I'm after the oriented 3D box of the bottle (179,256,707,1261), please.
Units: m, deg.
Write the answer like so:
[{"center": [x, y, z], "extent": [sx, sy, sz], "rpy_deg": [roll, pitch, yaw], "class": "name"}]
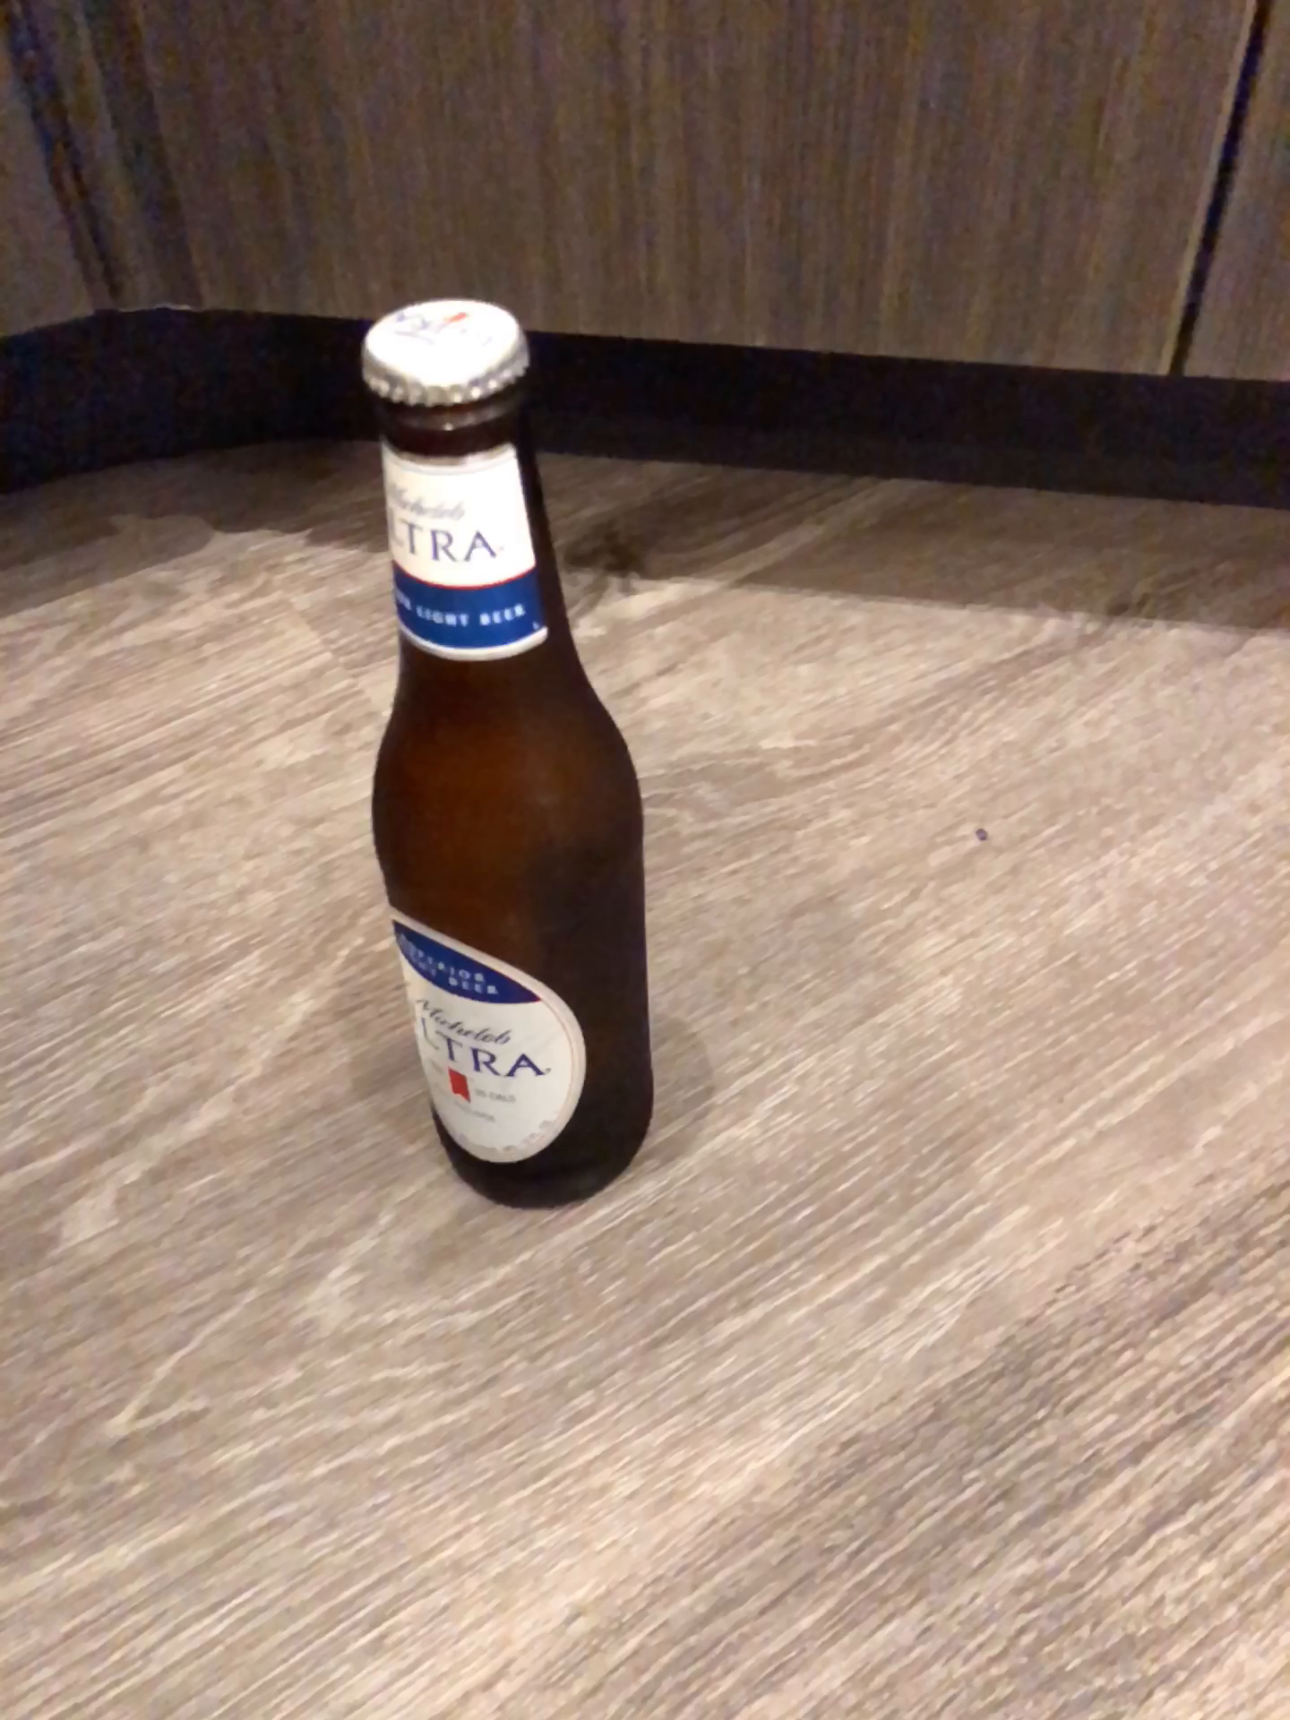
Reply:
[{"center": [-0.029, -0.007, 0.305], "extent": [0.060, 0.209, 0.060], "rpy_deg": [-1, 44, 1], "class": "bottle"}]
